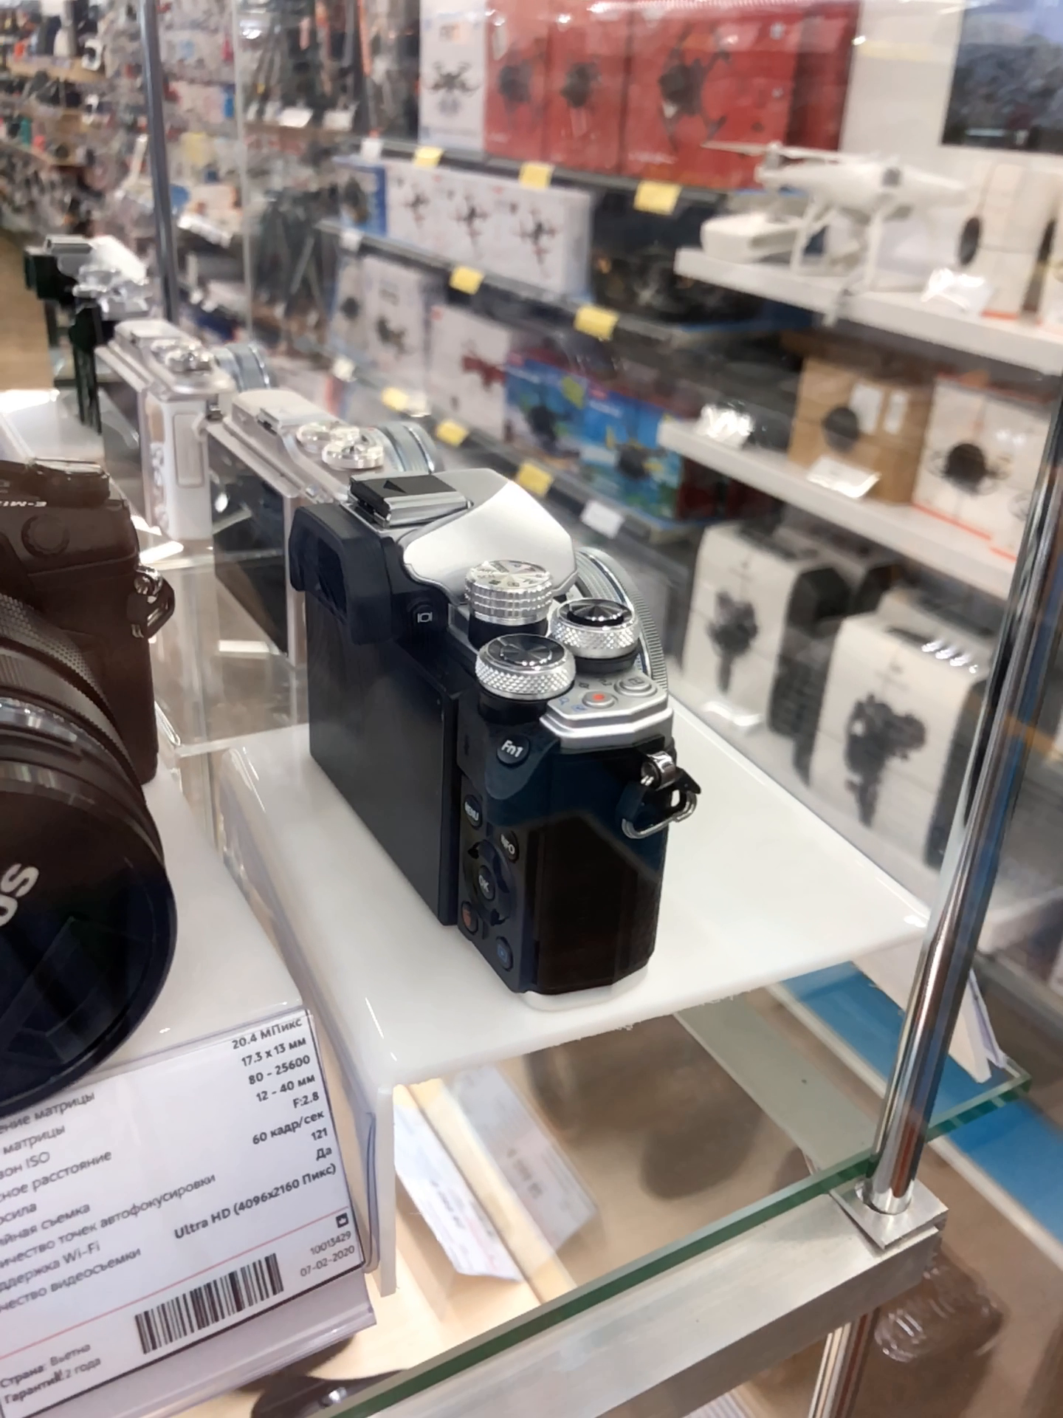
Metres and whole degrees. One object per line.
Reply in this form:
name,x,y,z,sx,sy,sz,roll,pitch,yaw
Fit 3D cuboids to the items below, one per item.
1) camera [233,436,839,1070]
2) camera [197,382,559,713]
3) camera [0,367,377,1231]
camera,-0.009,-0.003,0.257,0.072,0.080,0.120,-12,30,-29
camera,-0.057,-0.062,0.396,0.065,0.062,0.140,-12,30,-29
camera,-0.103,-0.004,0.221,0.102,0.087,0.137,-11,30,-27
